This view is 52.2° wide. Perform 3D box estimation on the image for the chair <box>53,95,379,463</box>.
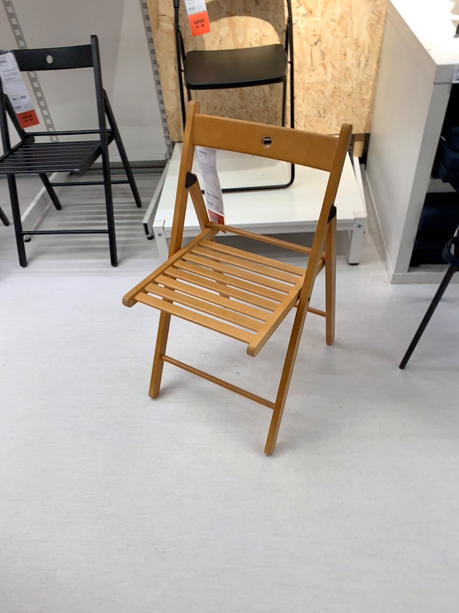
[{"bbox_3d":[0.019,-0.089,1.279,0.511,0.697,0.561,19,49,24],"label":"chair"}]
